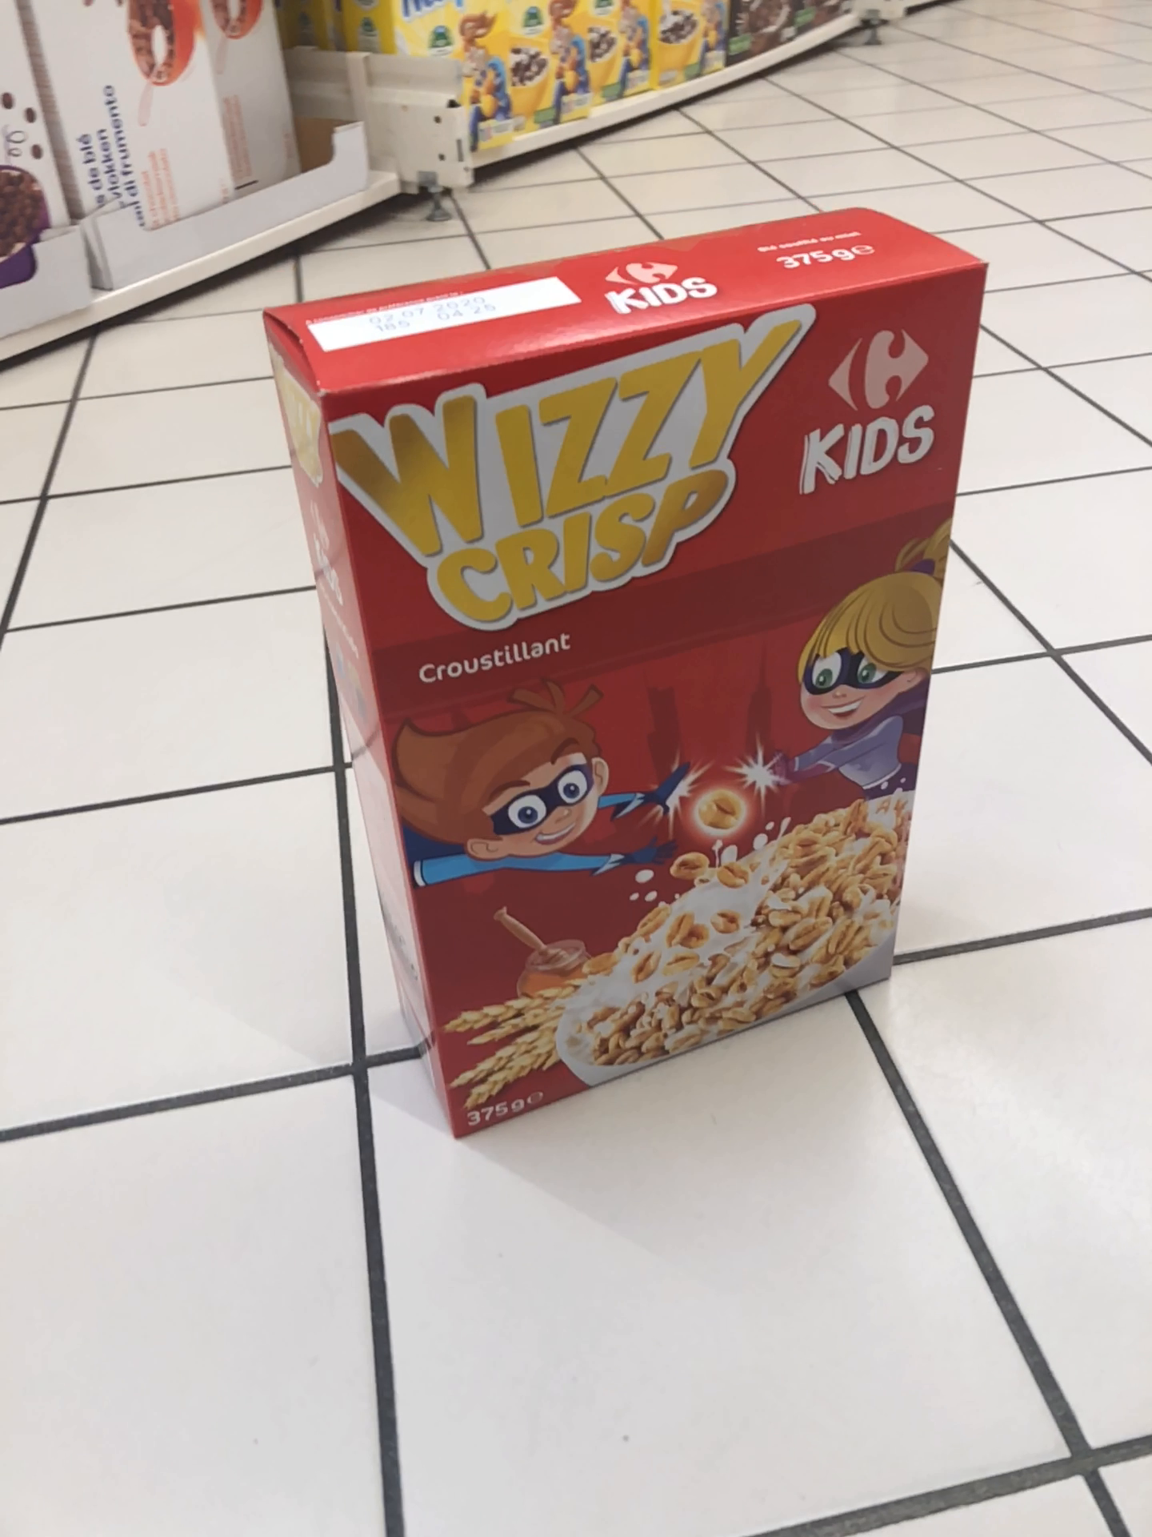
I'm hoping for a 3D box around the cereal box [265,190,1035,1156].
[{"bbox_3d":[0.026,-0.024,0.429,0.190,0.278,0.090,-17,38,-17],"label":"cereal box"}]
